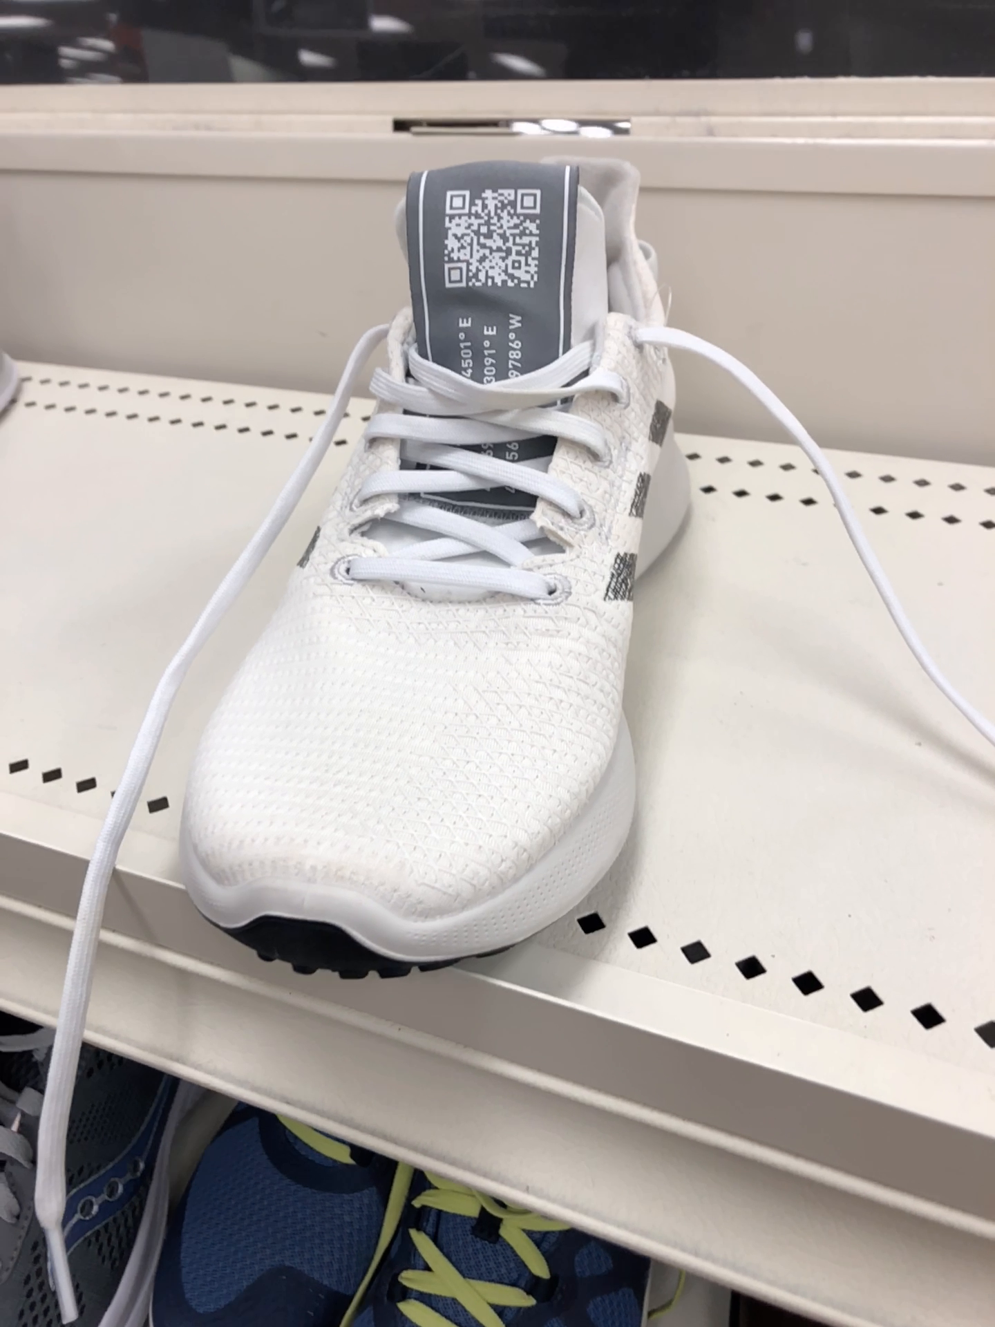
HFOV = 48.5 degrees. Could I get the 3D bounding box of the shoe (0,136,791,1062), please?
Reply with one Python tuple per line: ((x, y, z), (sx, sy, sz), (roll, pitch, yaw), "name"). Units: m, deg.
((0.006, -0.083, 0.342), (0.128, 0.139, 0.383), (8, 27, 15), "shoe")
